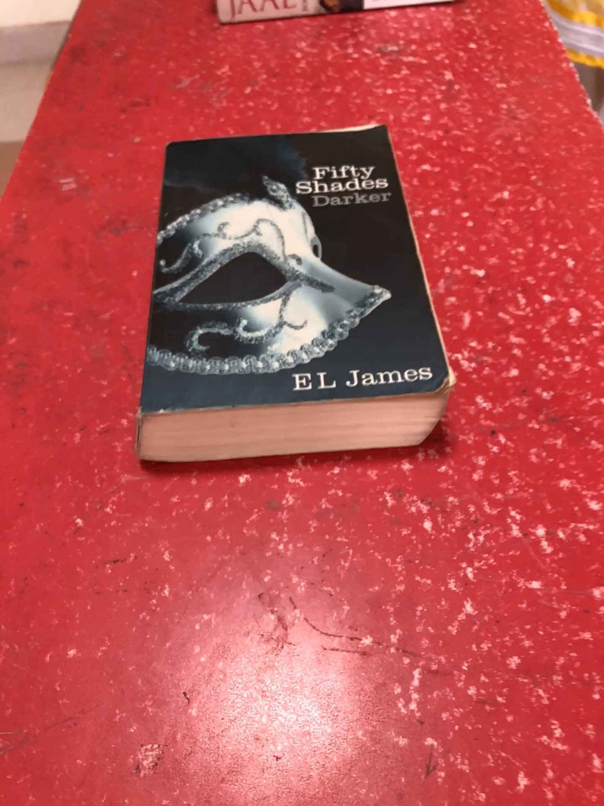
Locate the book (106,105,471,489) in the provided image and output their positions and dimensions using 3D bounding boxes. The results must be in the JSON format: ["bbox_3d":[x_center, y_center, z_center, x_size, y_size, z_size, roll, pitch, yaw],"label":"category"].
[{"bbox_3d":[-0.010,-0.066,0.344,0.140,0.050,0.211,-4,53,0],"label":"book"}]
